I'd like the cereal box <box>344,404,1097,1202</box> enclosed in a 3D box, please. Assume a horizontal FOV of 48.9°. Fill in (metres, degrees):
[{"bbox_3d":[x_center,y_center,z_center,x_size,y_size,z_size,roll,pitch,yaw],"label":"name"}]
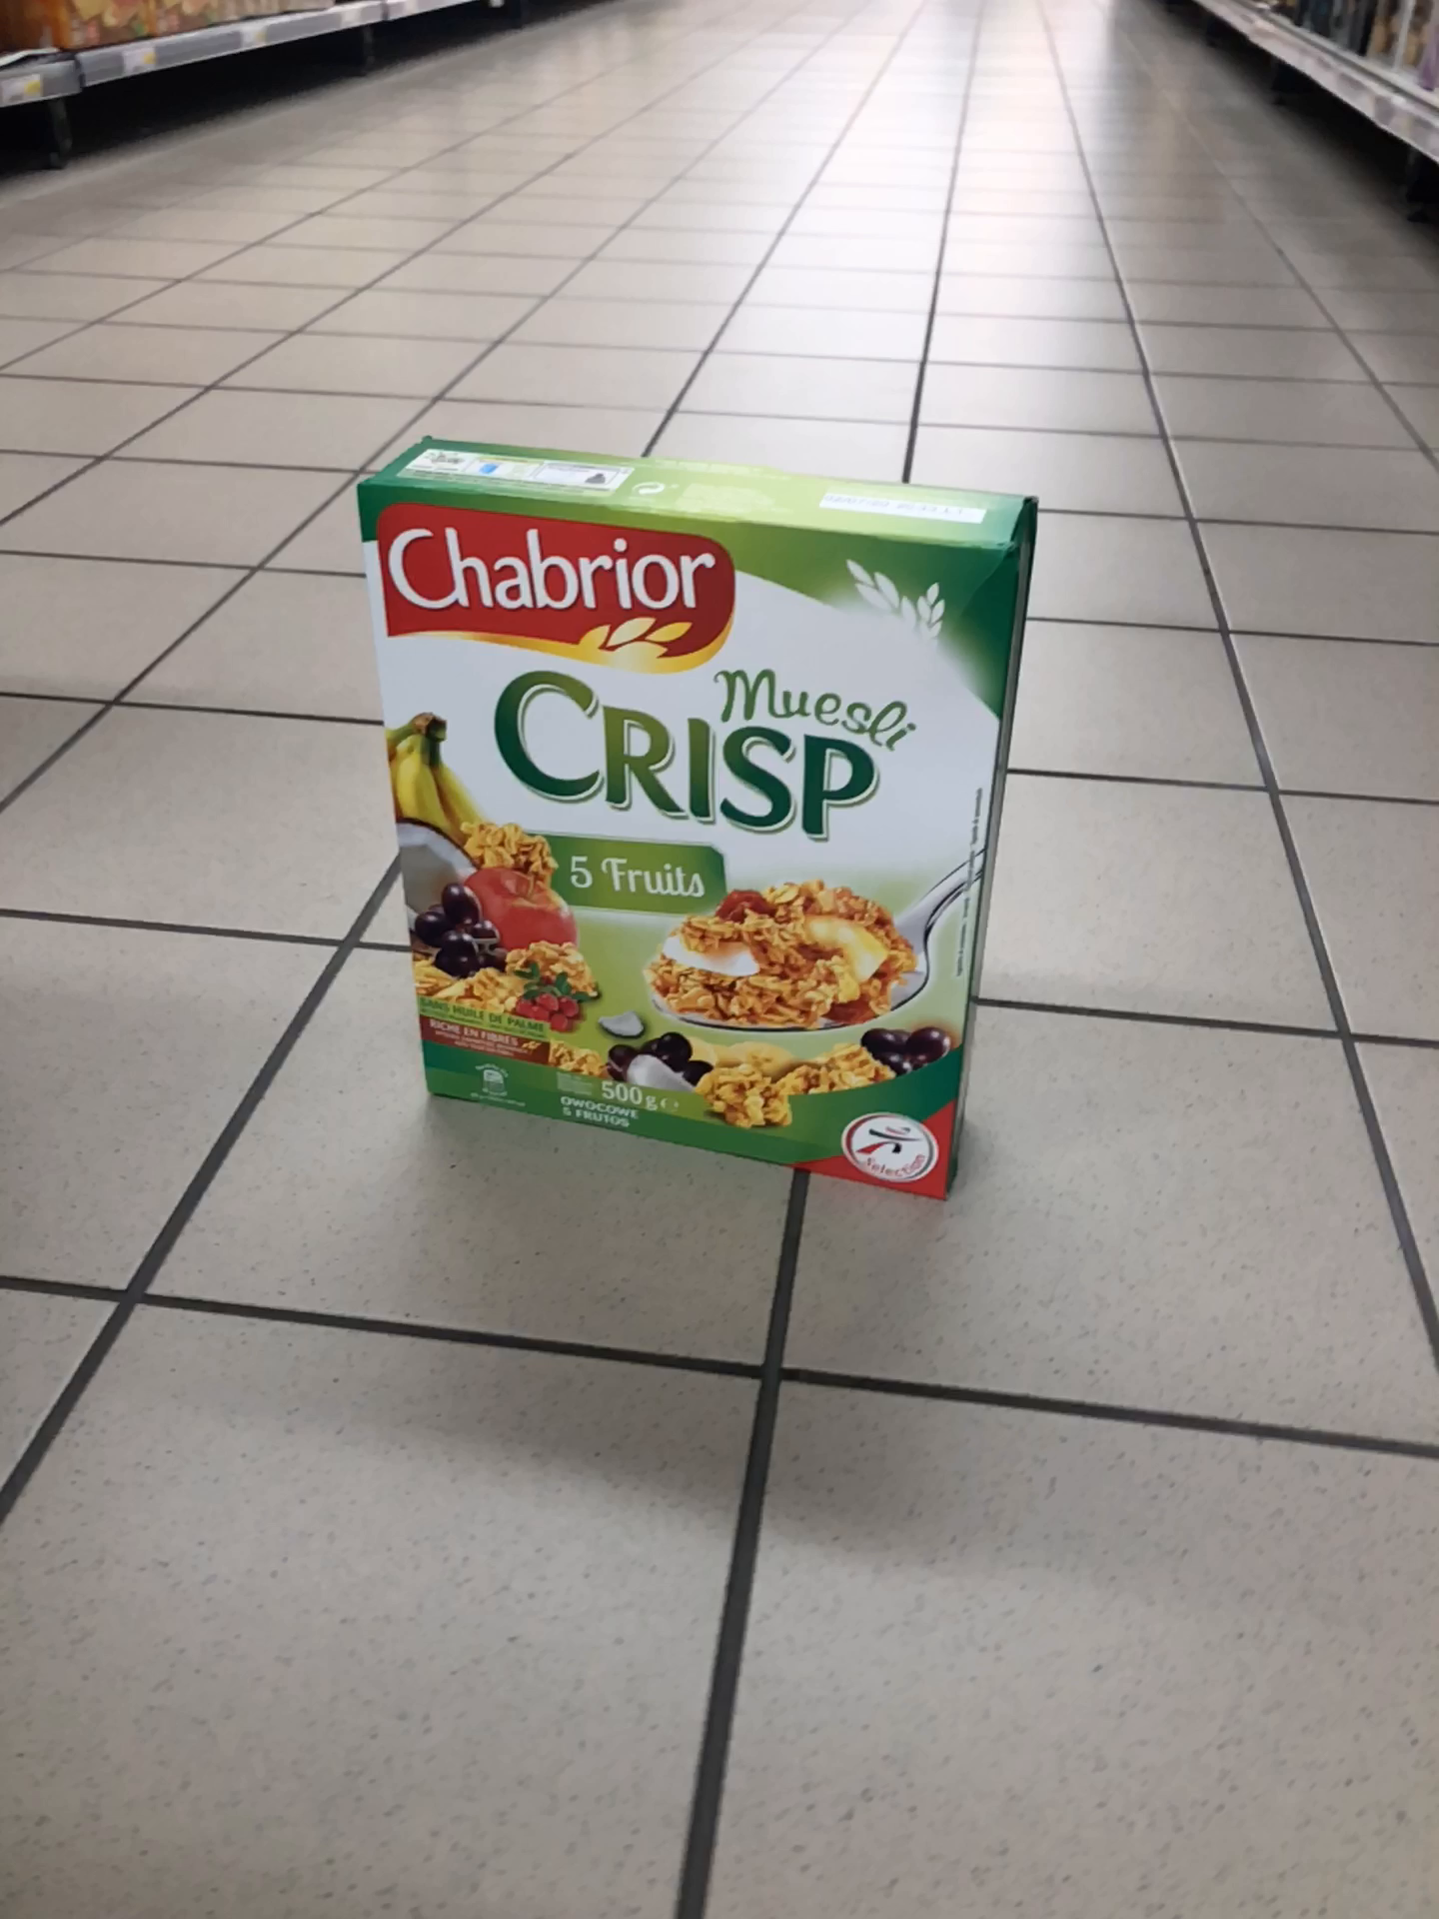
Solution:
[{"bbox_3d":[-0.001,-0.046,0.498,0.200,0.219,0.060,10,34,14],"label":"cereal box"}]
